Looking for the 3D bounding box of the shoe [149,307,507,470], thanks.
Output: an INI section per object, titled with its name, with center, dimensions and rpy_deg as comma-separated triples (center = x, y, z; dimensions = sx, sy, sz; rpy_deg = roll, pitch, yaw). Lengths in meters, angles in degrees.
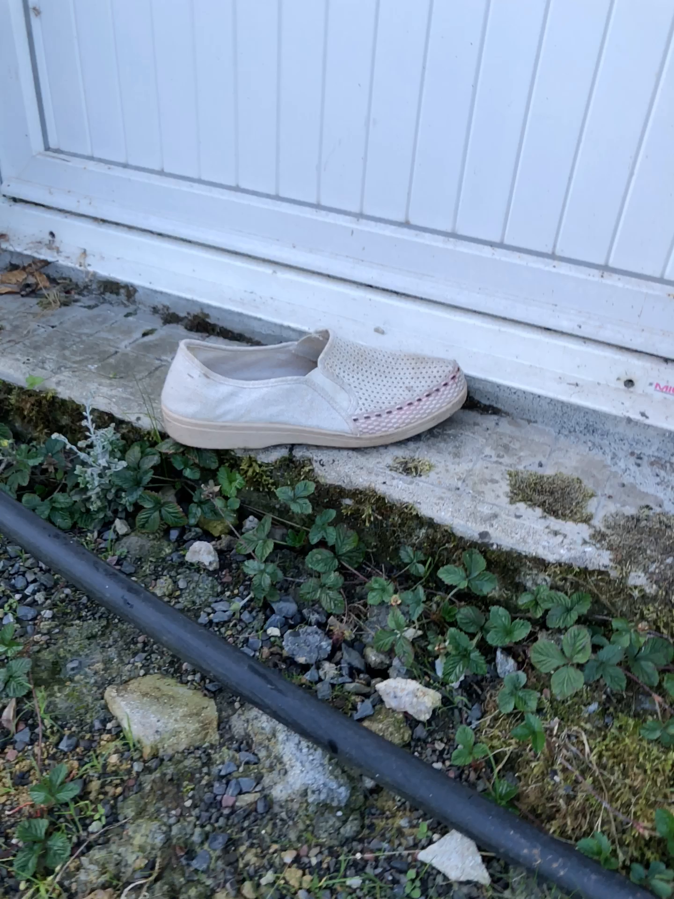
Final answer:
[shoe]
center = -0.012, -0.058, 0.635
dimensions = 0.280, 0.079, 0.100
rpy_deg = -5, 36, -13
